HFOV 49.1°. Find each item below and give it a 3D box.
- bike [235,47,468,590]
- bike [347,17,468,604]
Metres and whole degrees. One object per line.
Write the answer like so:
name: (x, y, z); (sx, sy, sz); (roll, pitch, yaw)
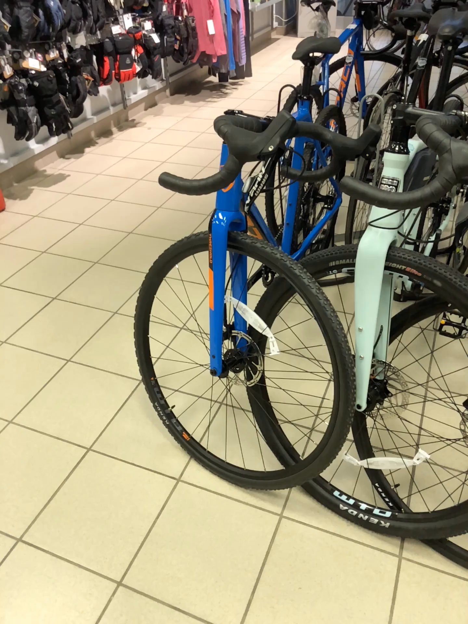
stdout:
bike: (0.375, -0.184, 1.693); (0.524, 0.805, 1.477); (4, 42, 10)
bike: (0.700, -0.236, 1.499); (0.616, 0.870, 1.429); (4, 38, 10)
